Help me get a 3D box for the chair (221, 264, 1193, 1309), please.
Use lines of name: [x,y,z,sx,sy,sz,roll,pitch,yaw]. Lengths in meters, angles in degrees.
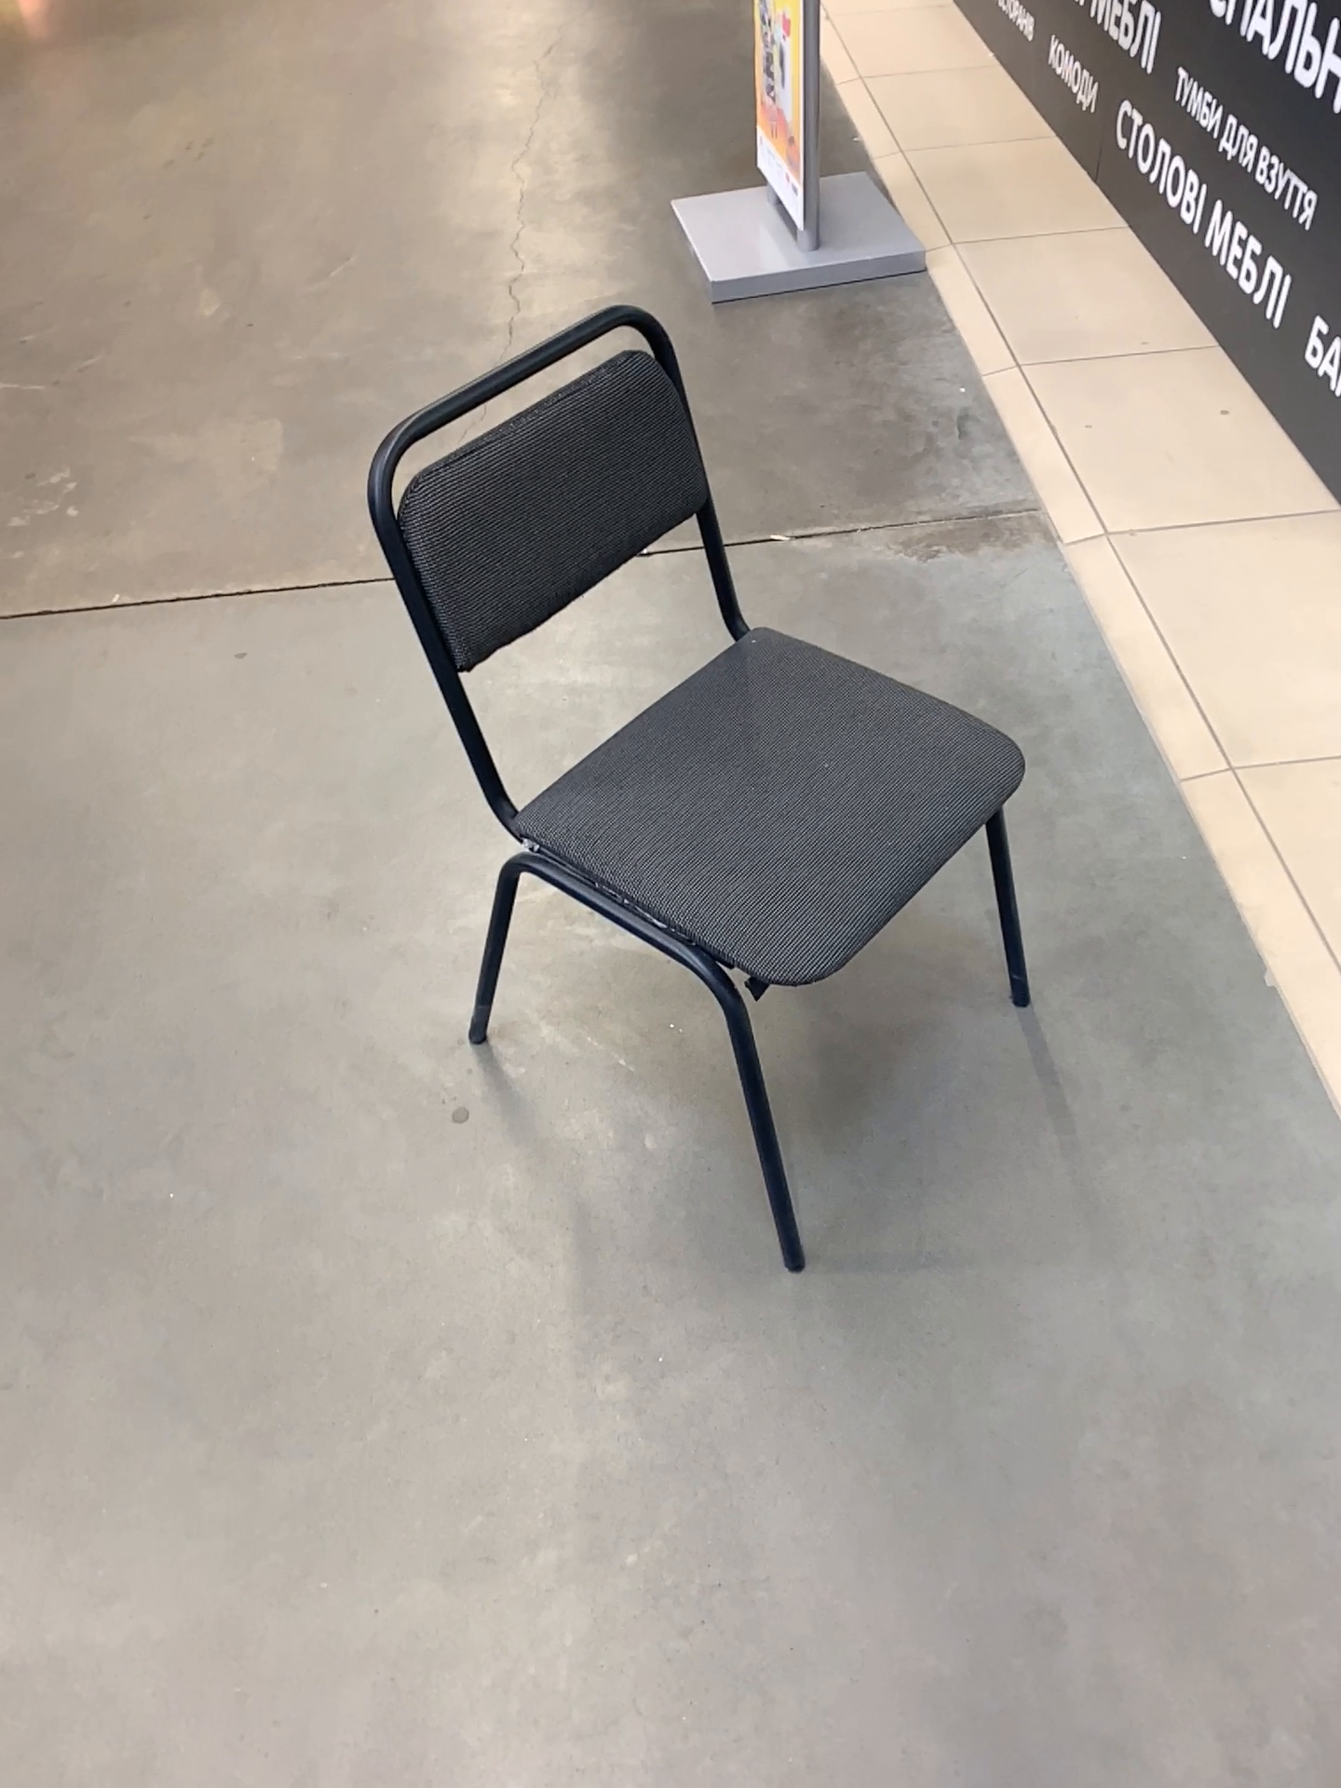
chair: [0.044,-0.121,1.443,0.632,0.737,0.551,32,57,30]
